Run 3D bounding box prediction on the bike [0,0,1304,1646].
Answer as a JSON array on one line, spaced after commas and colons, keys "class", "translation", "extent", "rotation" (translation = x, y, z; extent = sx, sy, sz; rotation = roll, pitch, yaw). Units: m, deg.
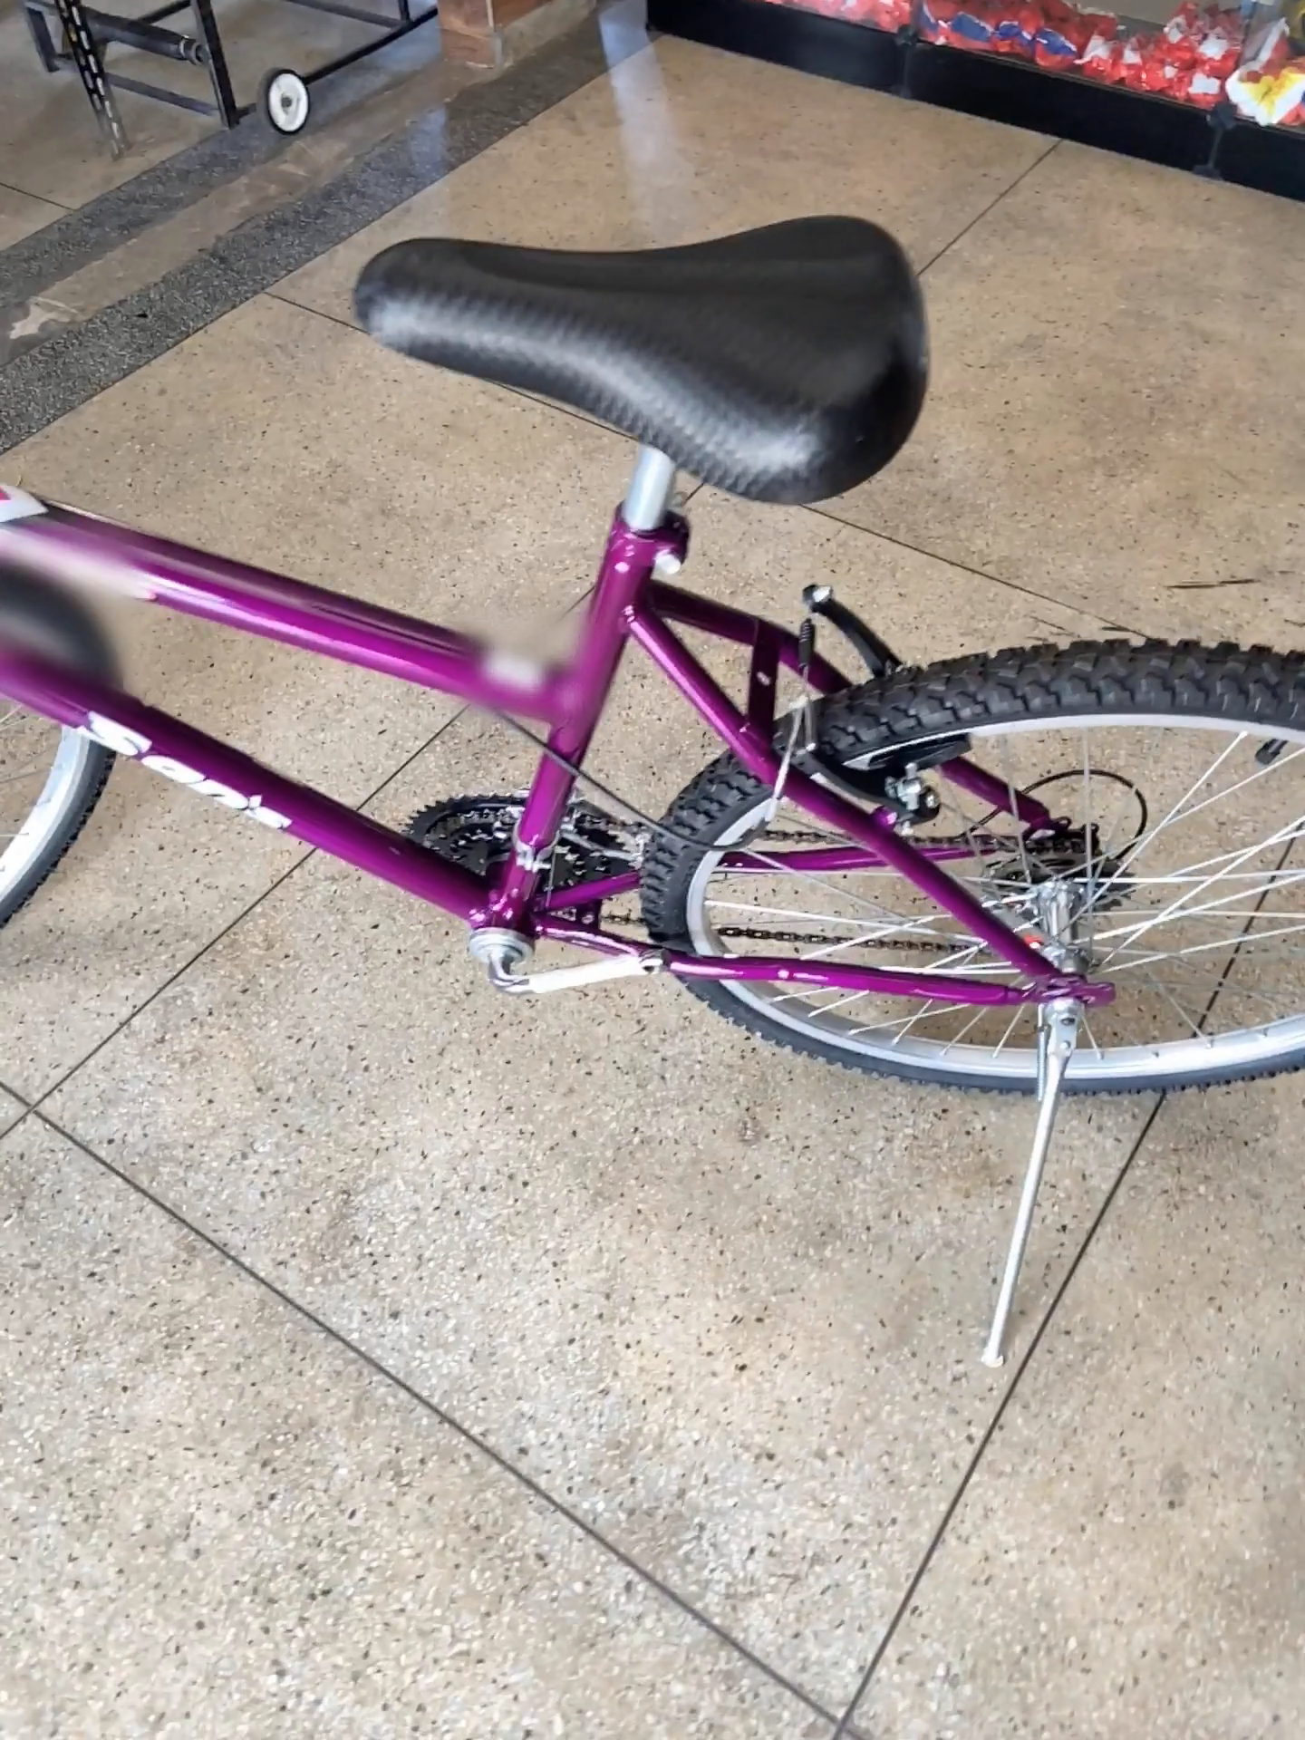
[{"class": "bike", "translation": [-0.141, -0.032, 0.779], "extent": [1.522, 1.035, 0.576], "rotation": [-4, 52, -3]}]
